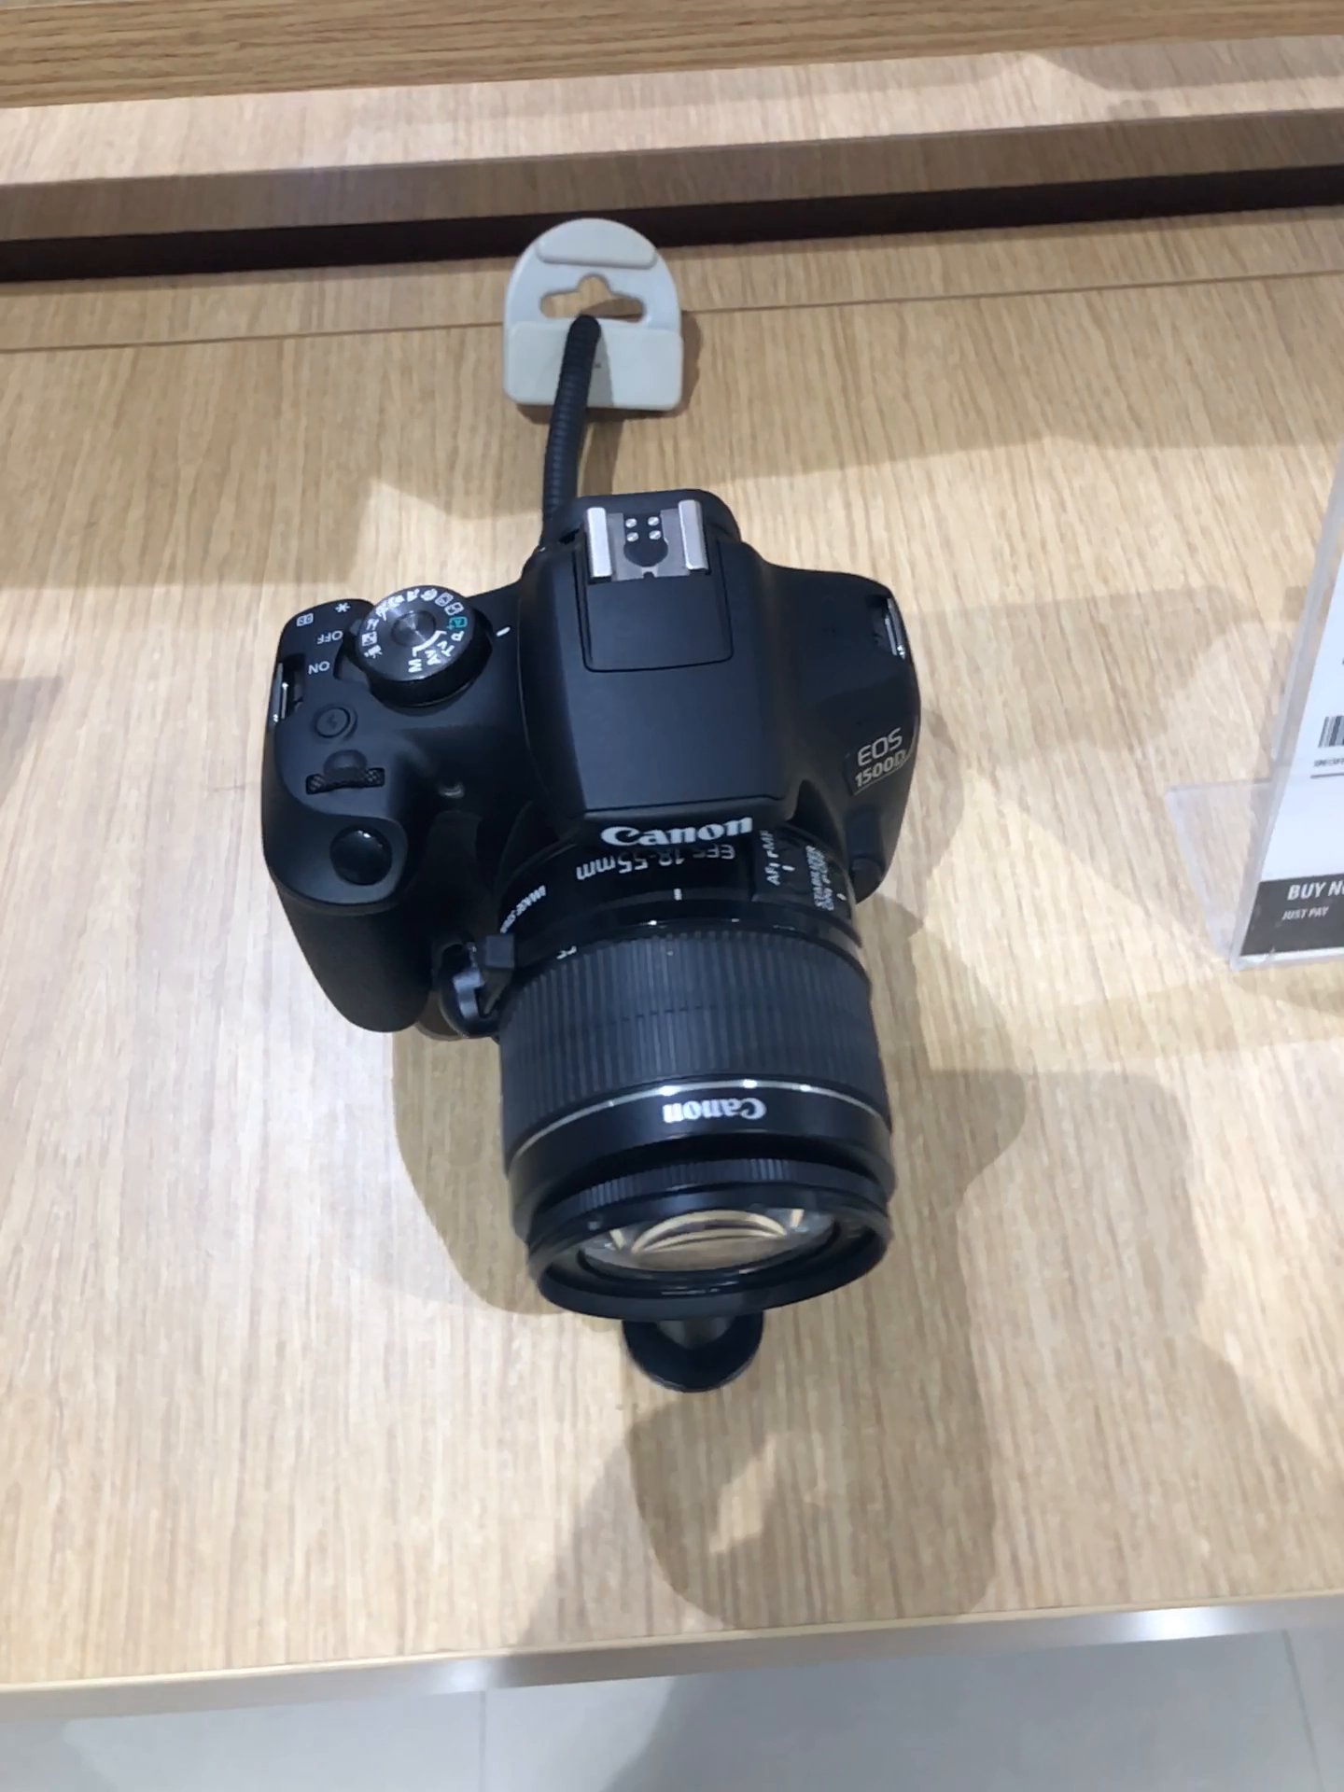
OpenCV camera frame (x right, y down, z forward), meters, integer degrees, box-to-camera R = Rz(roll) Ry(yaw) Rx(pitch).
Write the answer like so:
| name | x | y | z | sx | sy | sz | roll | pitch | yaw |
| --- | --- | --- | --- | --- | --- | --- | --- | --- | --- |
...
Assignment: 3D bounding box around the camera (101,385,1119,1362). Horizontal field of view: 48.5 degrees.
| name | x | y | z | sx | sy | sz | roll | pitch | yaw |
| --- | --- | --- | --- | --- | --- | --- | --- | --- | --- |
| camera | -0.010 | -0.004 | 0.266 | 0.130 | 0.090 | 0.141 | -4 | 57 | -1 |
